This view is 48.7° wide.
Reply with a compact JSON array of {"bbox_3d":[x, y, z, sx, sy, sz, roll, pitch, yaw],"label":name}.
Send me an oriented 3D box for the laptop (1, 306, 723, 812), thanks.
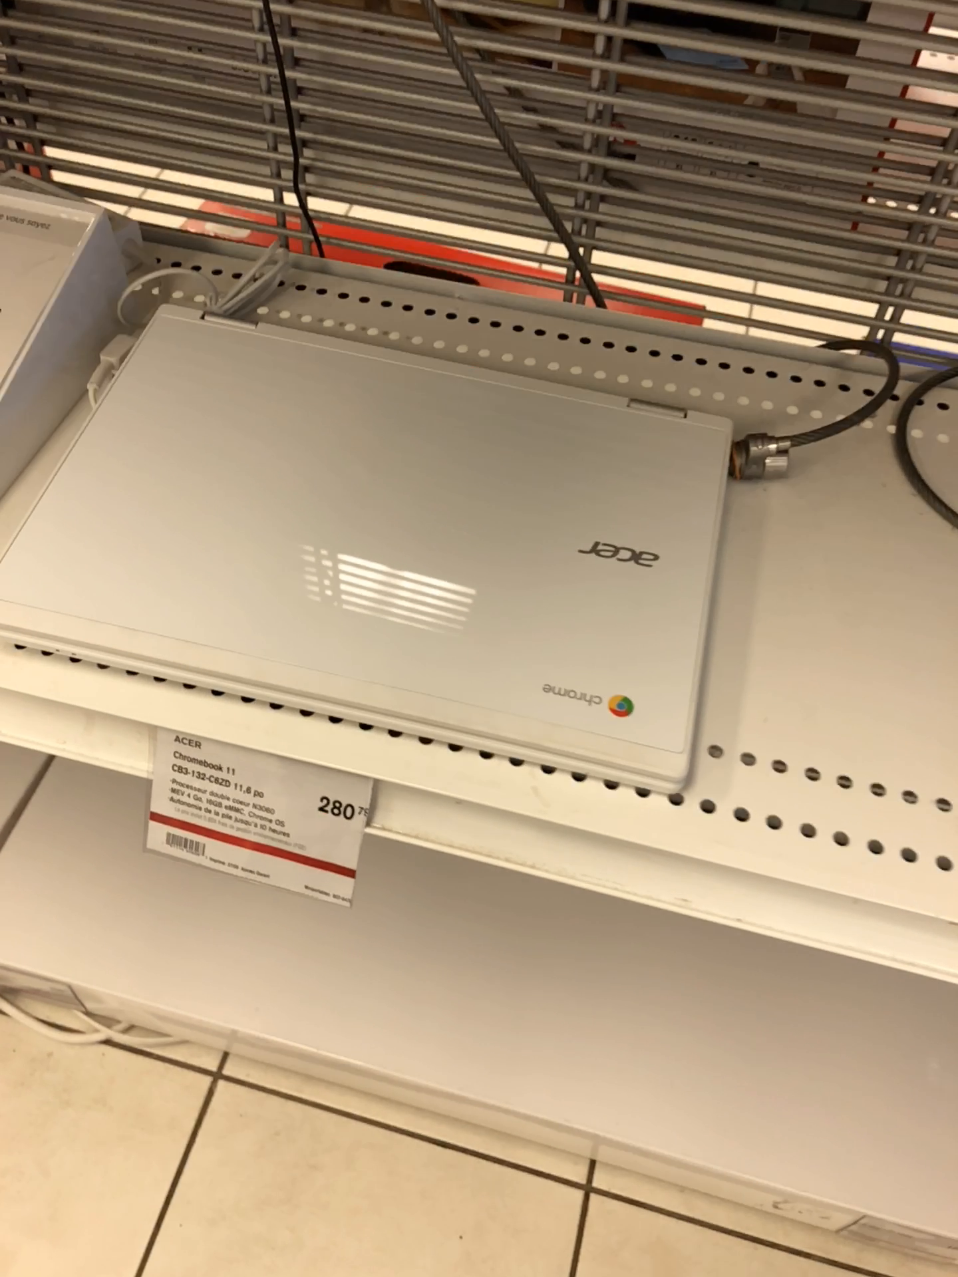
[{"bbox_3d":[-0.043,-0.048,0.482,0.286,0.024,0.184,13,62,6],"label":"laptop"}]
